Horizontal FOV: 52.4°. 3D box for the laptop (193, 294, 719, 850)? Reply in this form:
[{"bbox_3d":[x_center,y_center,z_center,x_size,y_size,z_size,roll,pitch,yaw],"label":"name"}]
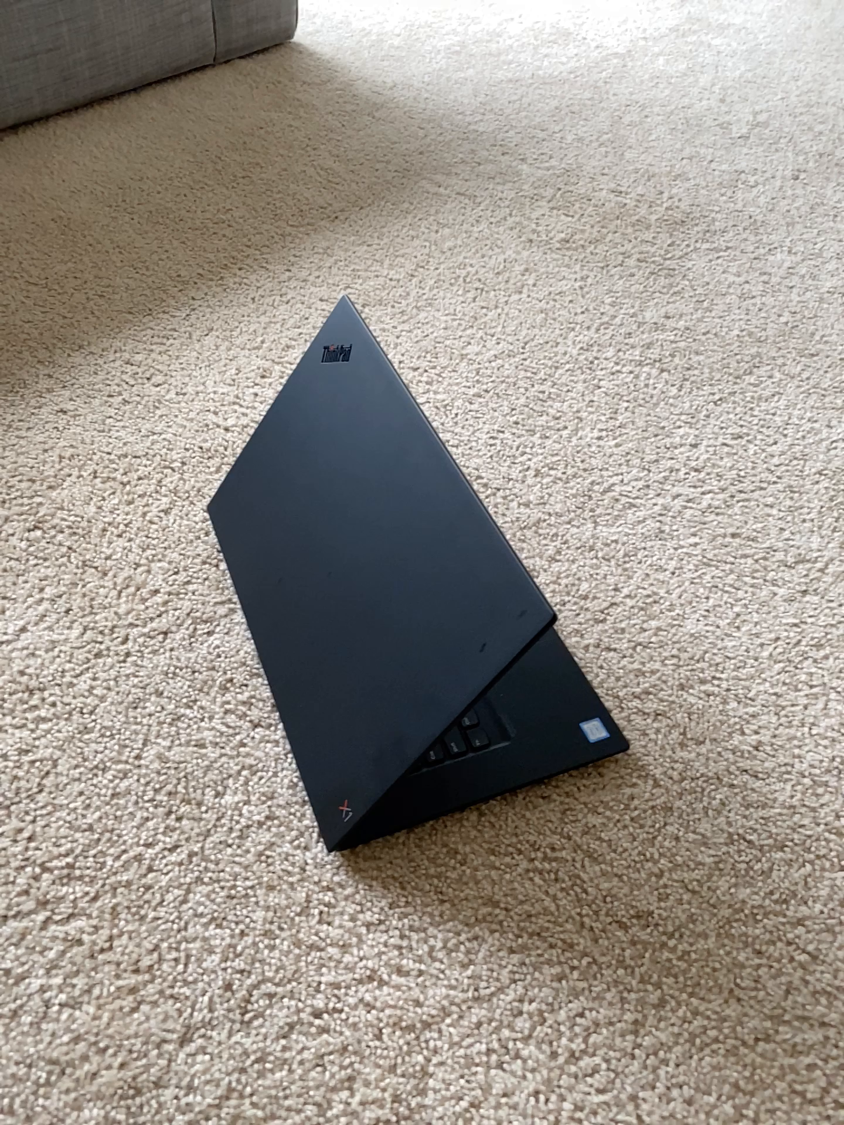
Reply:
[{"bbox_3d":[-0.007,-0.018,0.666,0.243,0.198,0.356,-13,50,-20],"label":"laptop"}]
